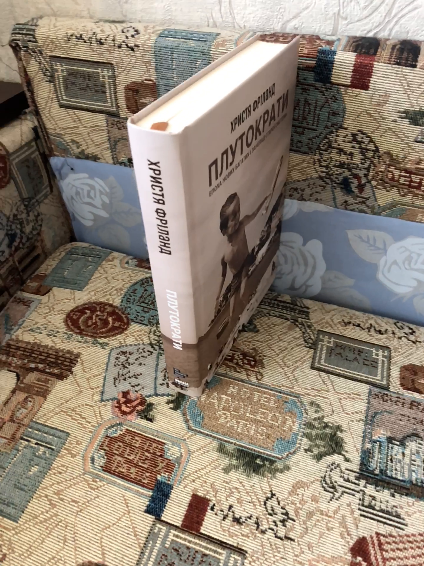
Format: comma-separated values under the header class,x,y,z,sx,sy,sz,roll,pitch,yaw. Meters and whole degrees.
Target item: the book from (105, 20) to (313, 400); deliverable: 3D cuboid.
class,x,y,z,sx,sy,sz,roll,pitch,yaw
book,0.010,-0.047,0.344,0.040,0.218,0.171,21,49,21
